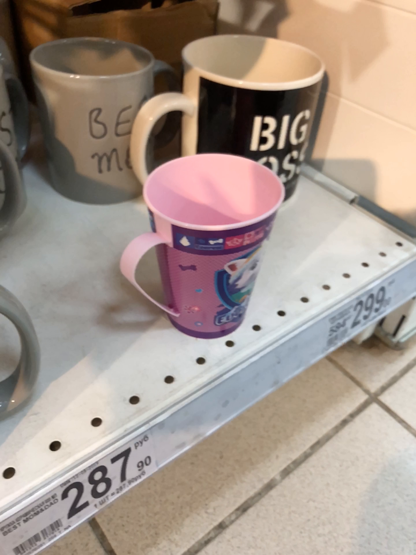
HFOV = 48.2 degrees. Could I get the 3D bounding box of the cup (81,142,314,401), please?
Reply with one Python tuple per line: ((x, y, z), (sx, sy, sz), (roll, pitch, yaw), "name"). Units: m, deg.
((-0.007, -0.008, 0.296), (0.078, 0.104, 0.109), (35, 49, 29), "cup")
